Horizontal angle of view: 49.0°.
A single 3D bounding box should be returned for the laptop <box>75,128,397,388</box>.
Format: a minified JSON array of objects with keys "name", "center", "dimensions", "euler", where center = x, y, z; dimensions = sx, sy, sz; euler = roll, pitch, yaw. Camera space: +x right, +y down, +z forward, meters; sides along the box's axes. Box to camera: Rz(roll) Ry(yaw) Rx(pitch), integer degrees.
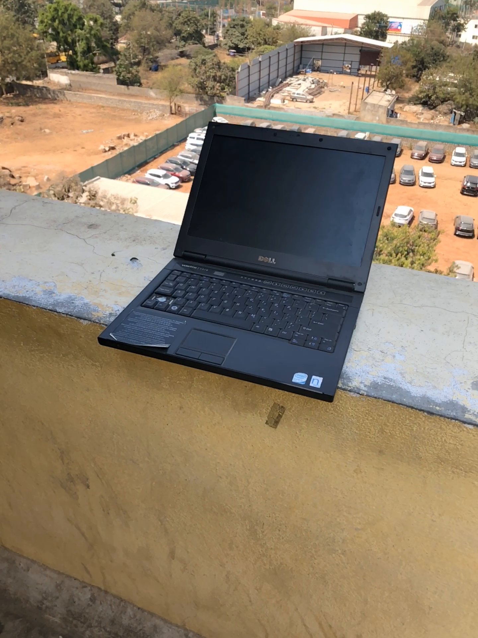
[{"name":"laptop","center":[0.028,-0.120,0.732],"dimensions":[0.301,0.177,0.378],"euler":[12,35,17]}]
